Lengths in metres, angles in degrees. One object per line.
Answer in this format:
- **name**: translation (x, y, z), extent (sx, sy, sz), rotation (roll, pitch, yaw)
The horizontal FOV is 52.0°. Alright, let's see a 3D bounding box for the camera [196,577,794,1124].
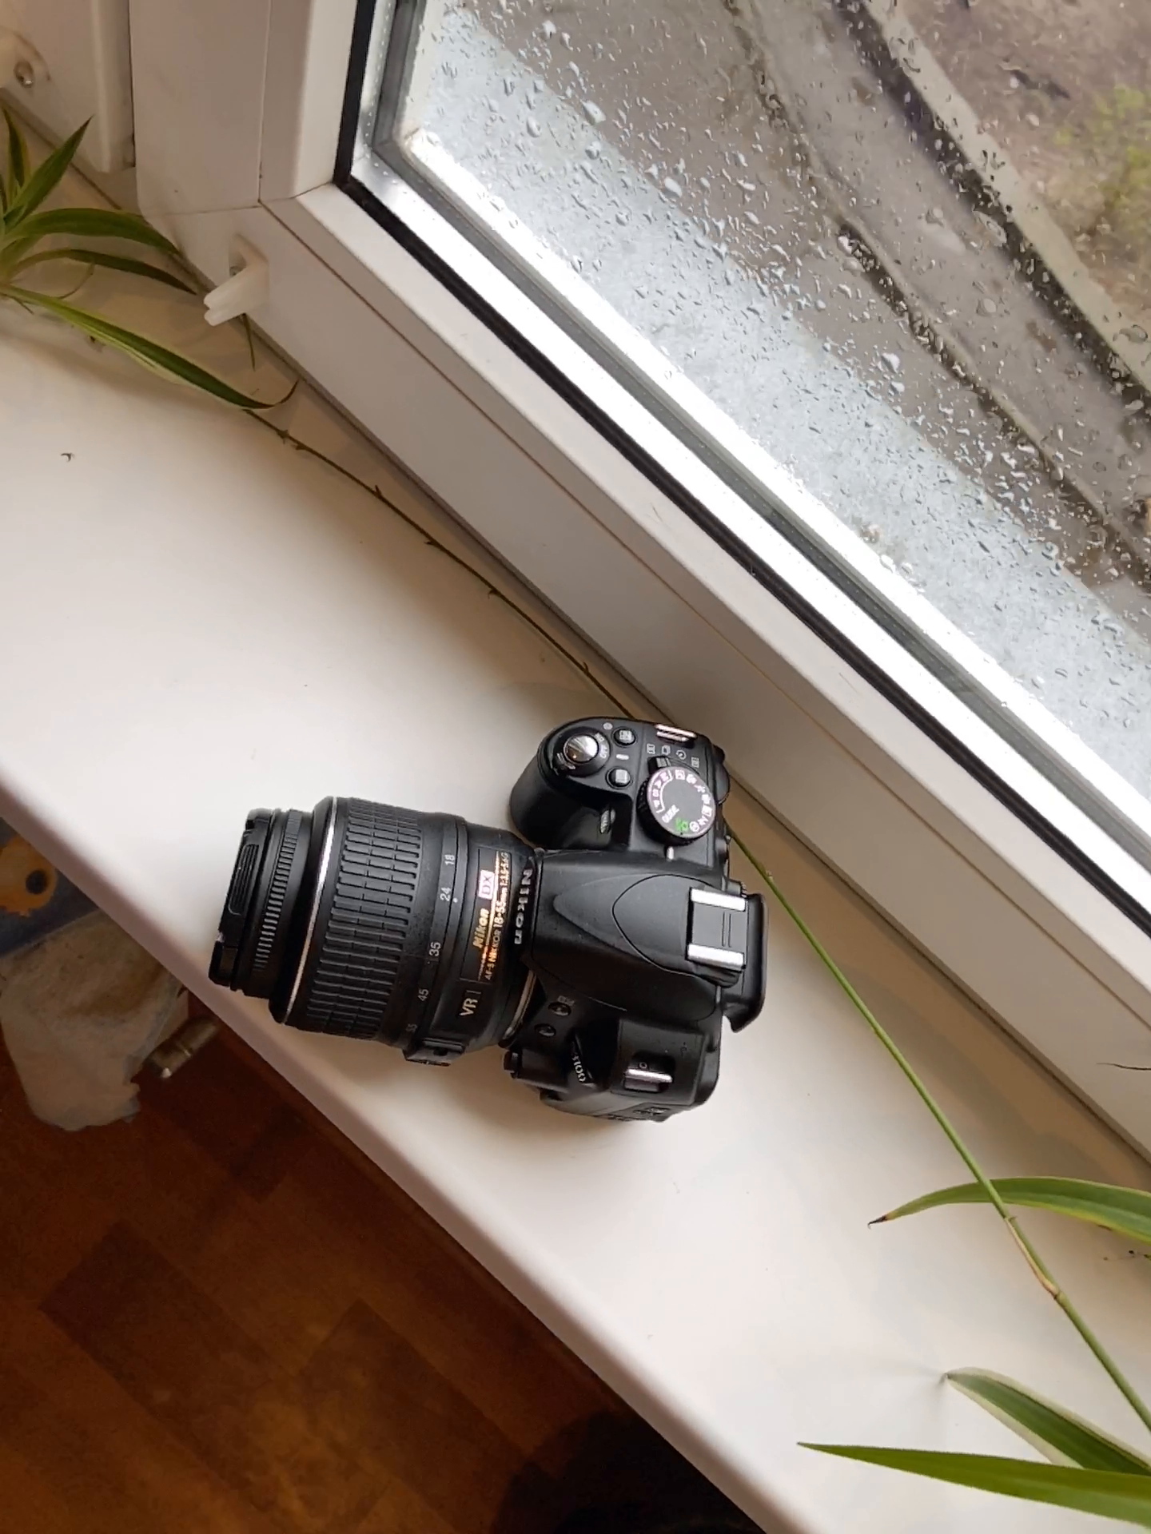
- **camera**: translation (-0.024, 0.034, 0.364), extent (0.155, 0.091, 0.124), rotation (11, 67, -14)
